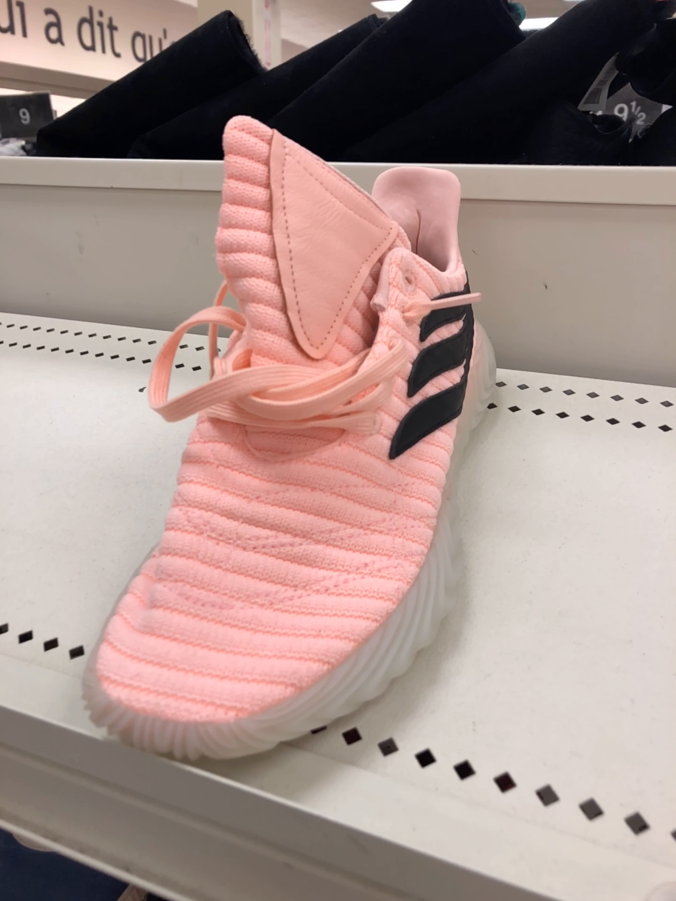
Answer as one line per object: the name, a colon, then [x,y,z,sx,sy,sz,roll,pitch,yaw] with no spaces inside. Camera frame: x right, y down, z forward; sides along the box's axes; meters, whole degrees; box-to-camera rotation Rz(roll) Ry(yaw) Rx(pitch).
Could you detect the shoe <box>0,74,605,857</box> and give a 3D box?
shoe: [0.016,-0.047,0.314,0.120,0.169,0.322,10,33,24]
